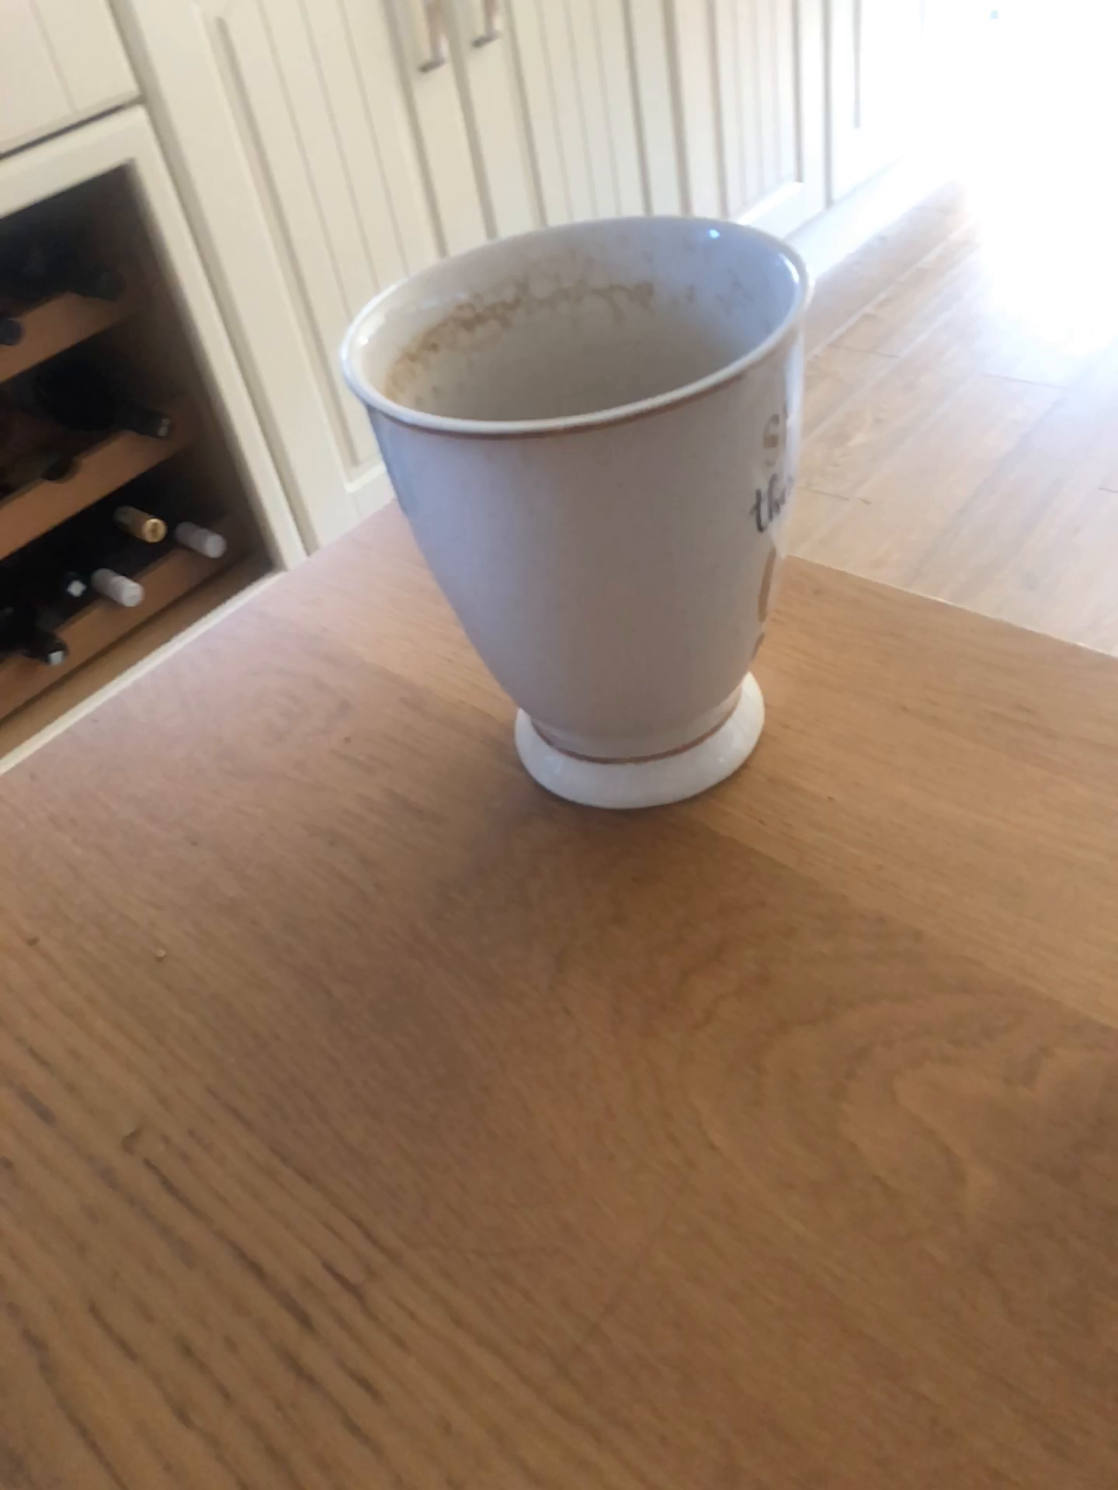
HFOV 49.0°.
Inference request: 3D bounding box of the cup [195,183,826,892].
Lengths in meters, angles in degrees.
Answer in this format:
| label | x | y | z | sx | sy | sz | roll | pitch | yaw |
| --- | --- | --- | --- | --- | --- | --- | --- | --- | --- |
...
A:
| label | x | y | z | sx | sy | sz | roll | pitch | yaw |
| --- | --- | --- | --- | --- | --- | --- | --- | --- | --- |
| cup | 0.005 | -0.055 | 0.309 | 0.108 | 0.111 | 0.135 | 3 | 44 | 16 |
